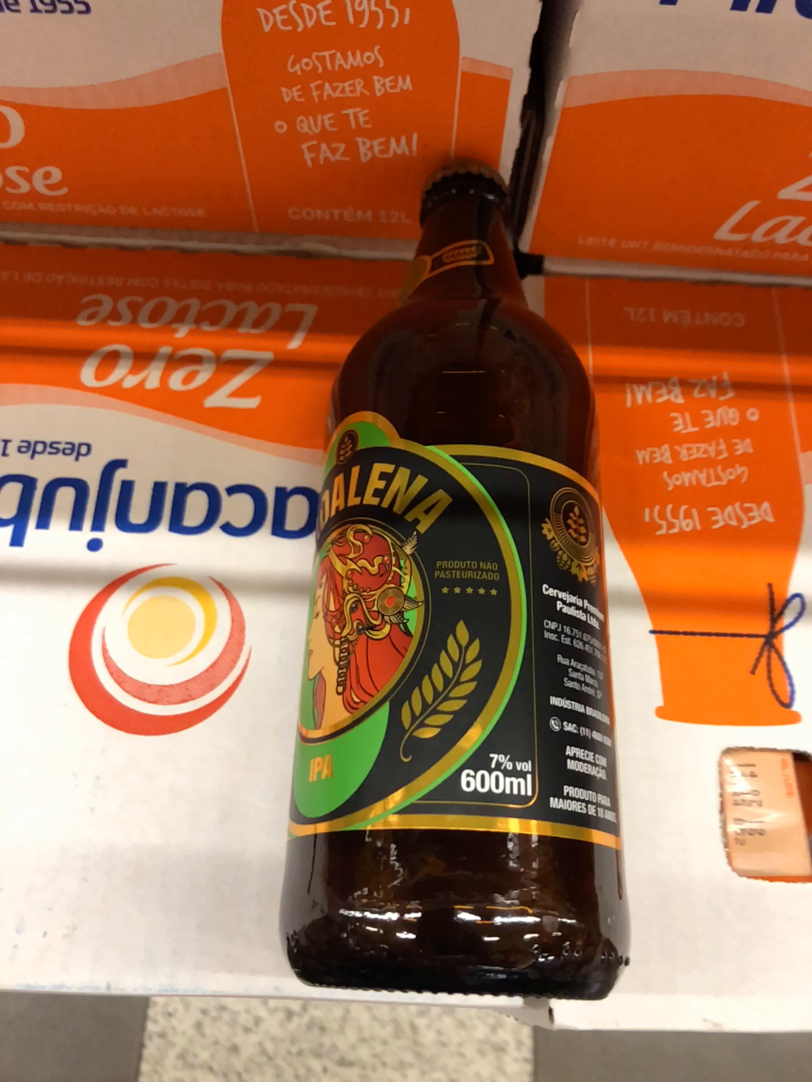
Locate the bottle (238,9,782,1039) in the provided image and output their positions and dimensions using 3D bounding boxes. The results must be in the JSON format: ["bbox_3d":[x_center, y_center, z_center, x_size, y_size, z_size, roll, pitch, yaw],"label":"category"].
[{"bbox_3d":[0.023,-0.025,0.253,0.100,0.060,0.281,2,65,-1],"label":"bottle"}]
